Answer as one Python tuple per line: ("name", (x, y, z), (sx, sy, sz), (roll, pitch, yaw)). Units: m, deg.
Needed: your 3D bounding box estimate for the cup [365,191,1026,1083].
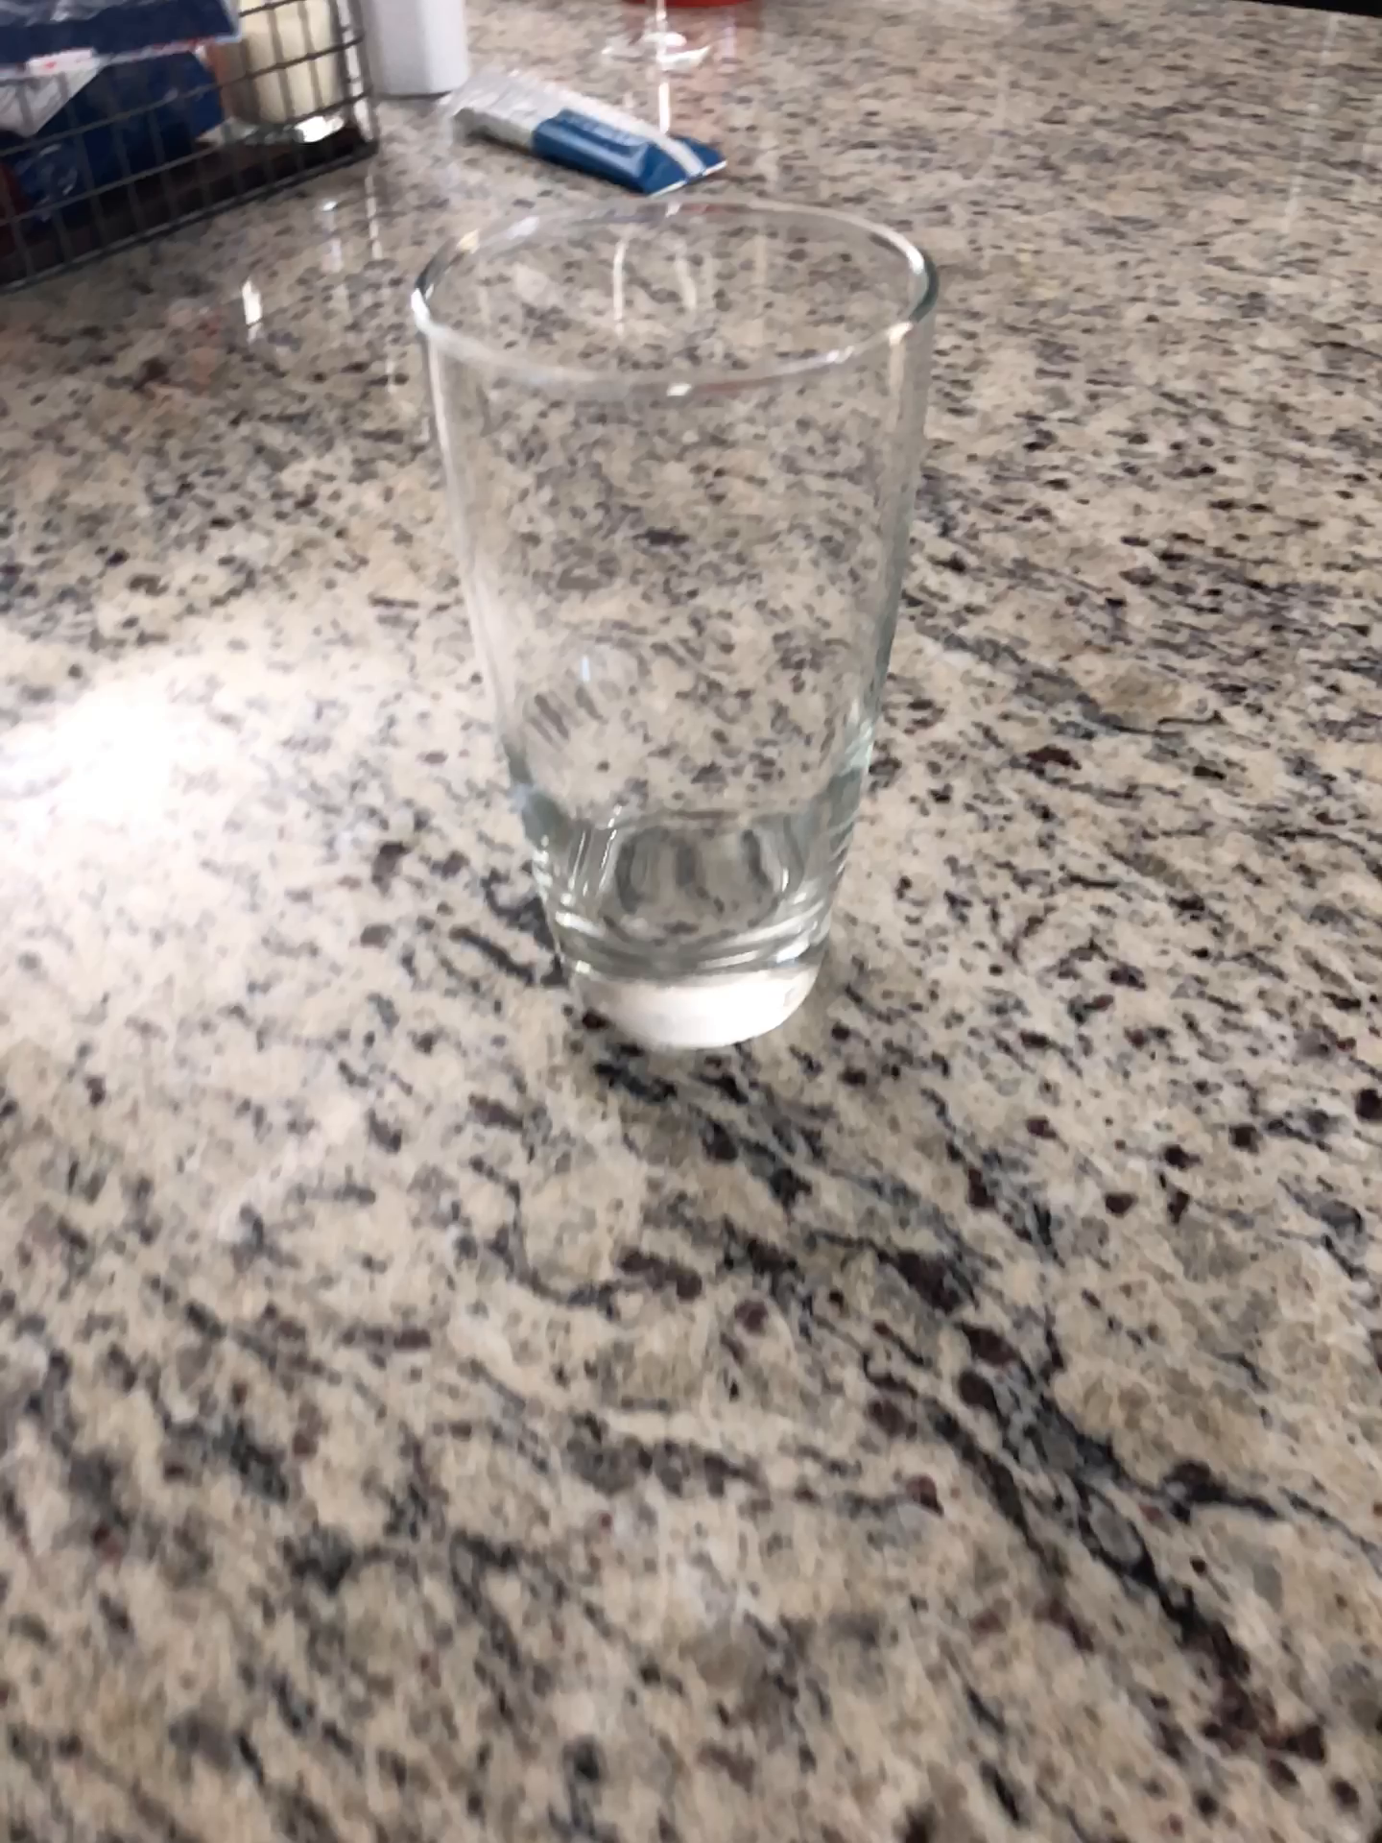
("cup", (0.002, -0.048, 0.285), (0.090, 0.139, 0.081), (-1, 40, 1))
